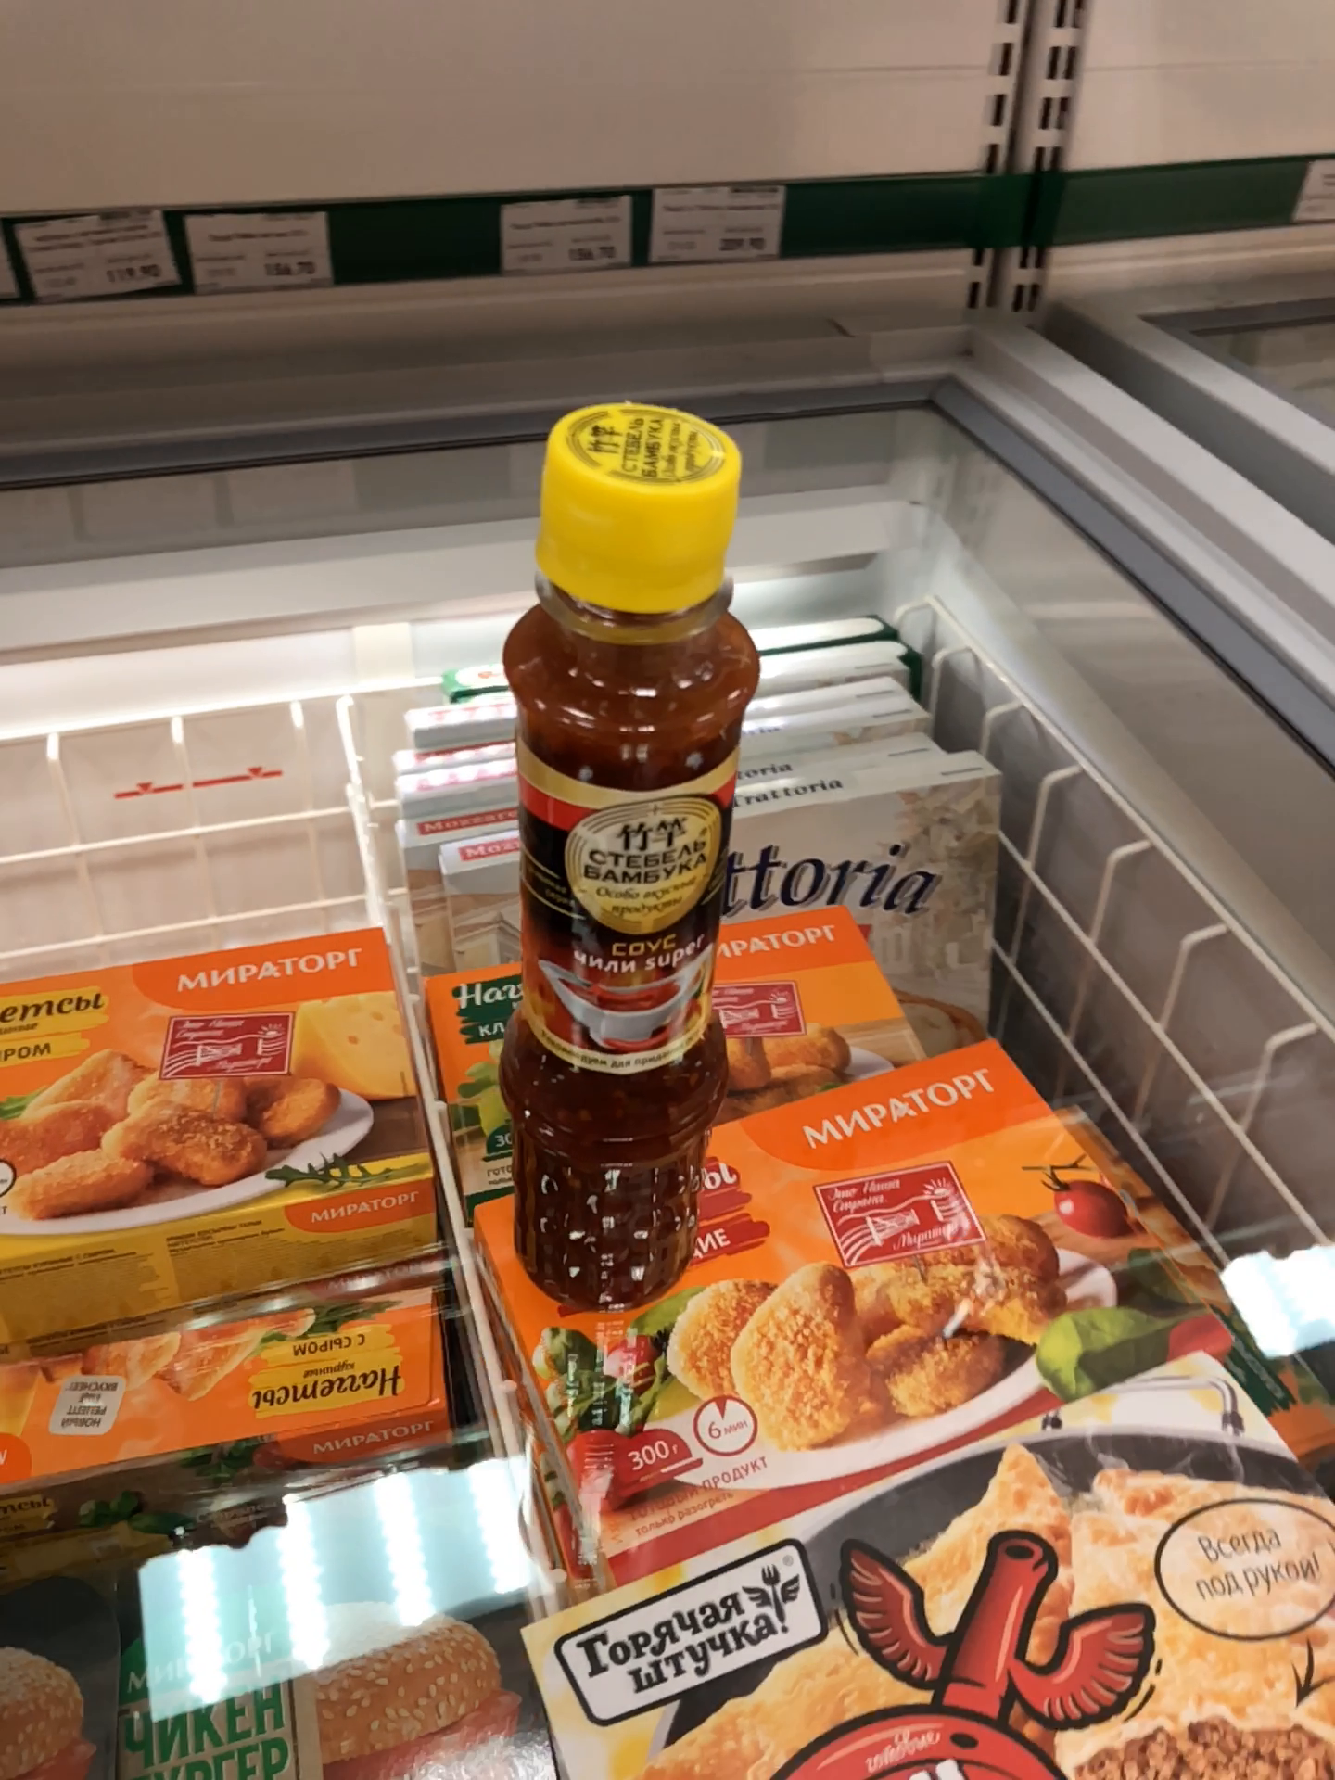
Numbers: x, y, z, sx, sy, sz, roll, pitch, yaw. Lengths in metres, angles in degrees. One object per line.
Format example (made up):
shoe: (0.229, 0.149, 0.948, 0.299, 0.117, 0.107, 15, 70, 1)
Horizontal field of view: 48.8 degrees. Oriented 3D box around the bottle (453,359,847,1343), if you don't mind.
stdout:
bottle: (-0.009, 0.007, 0.301, 0.048, 0.212, 0.047, 2, 41, -2)
